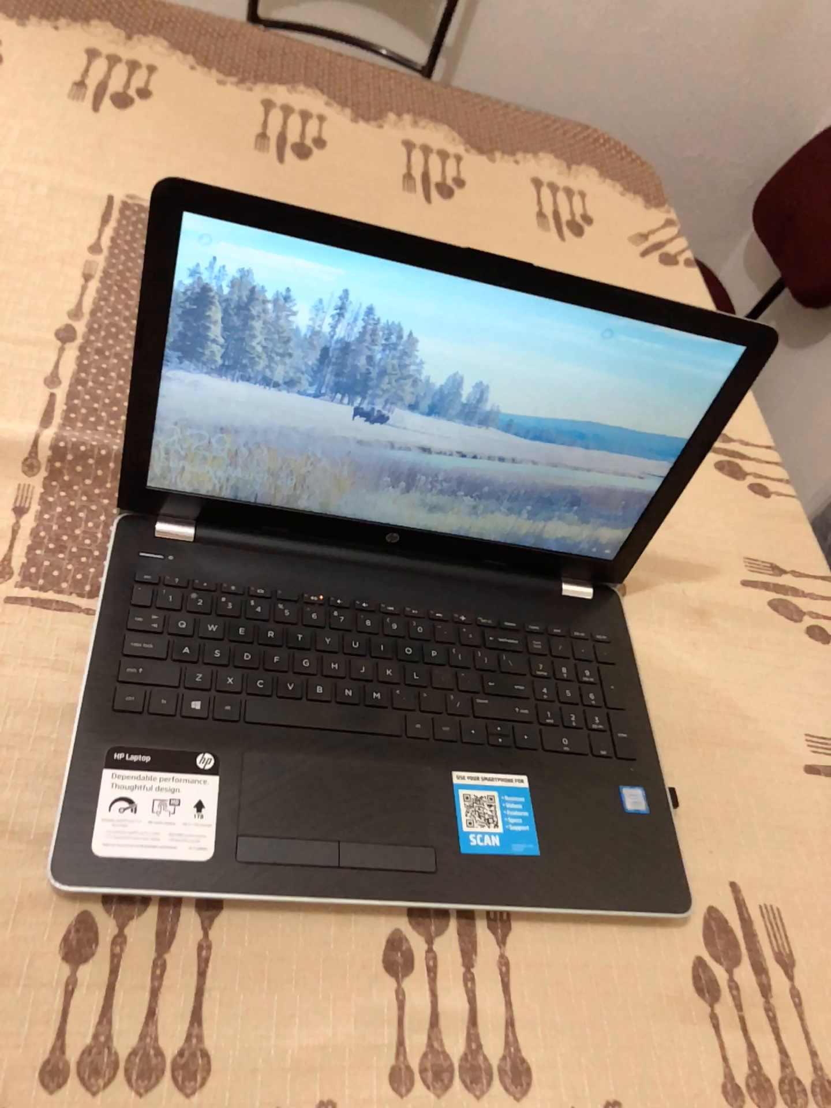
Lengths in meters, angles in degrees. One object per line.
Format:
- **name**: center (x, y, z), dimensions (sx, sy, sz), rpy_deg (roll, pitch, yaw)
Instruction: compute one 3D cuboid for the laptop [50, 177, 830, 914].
- **laptop**: center (0.017, 0.014, 0.498), dimensions (0.360, 0.225, 0.269), rpy_deg (9, 49, -16)
